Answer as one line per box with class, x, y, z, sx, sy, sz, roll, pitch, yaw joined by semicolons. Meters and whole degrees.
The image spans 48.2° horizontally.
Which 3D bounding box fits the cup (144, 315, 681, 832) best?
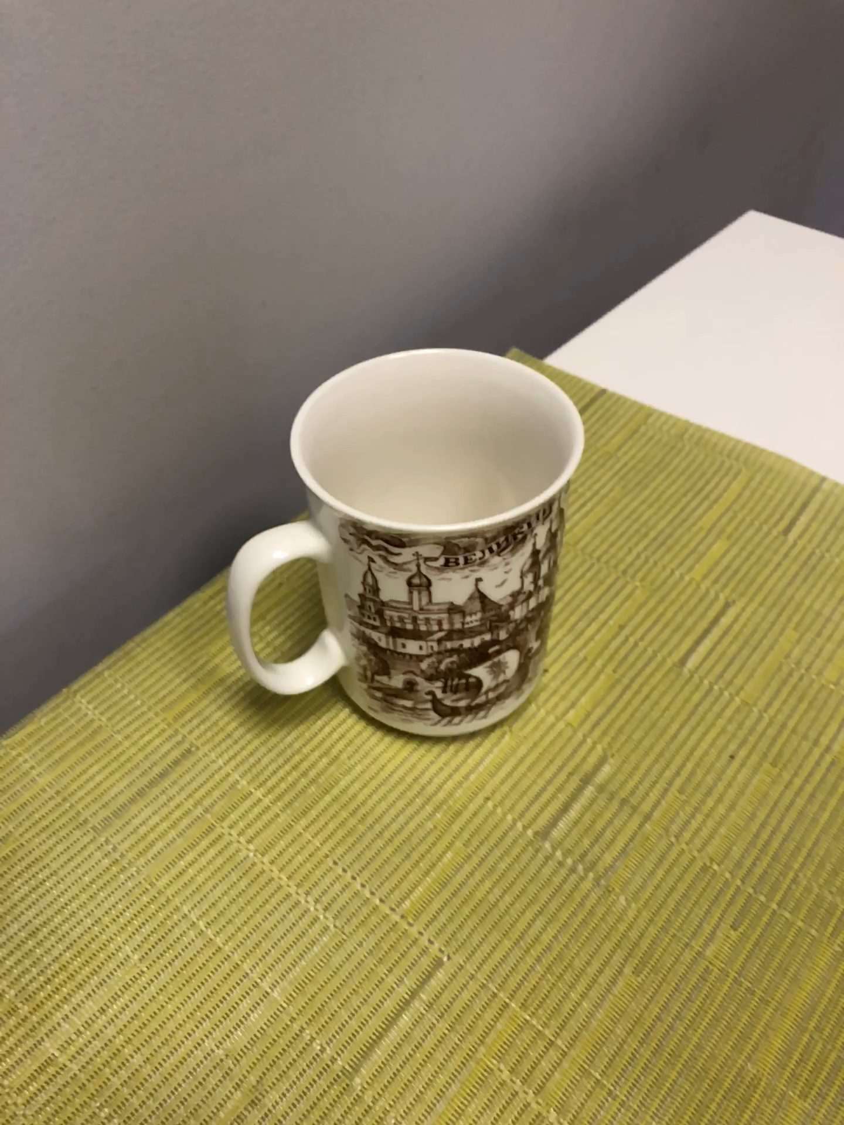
cup;-0.005;-0.001;0.300;0.124;0.092;0.095;-19;48;-17
